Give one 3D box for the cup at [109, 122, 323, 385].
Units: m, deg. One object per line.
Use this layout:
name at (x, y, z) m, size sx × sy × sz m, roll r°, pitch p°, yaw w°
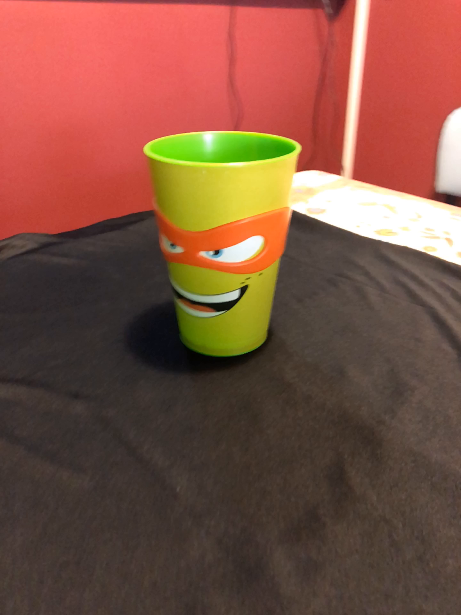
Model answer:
cup at (-0.003, -0.045, 0.357) m, size 0.100 × 0.139 × 0.111 m, roll 11°, pitch 30°, yaw 20°
